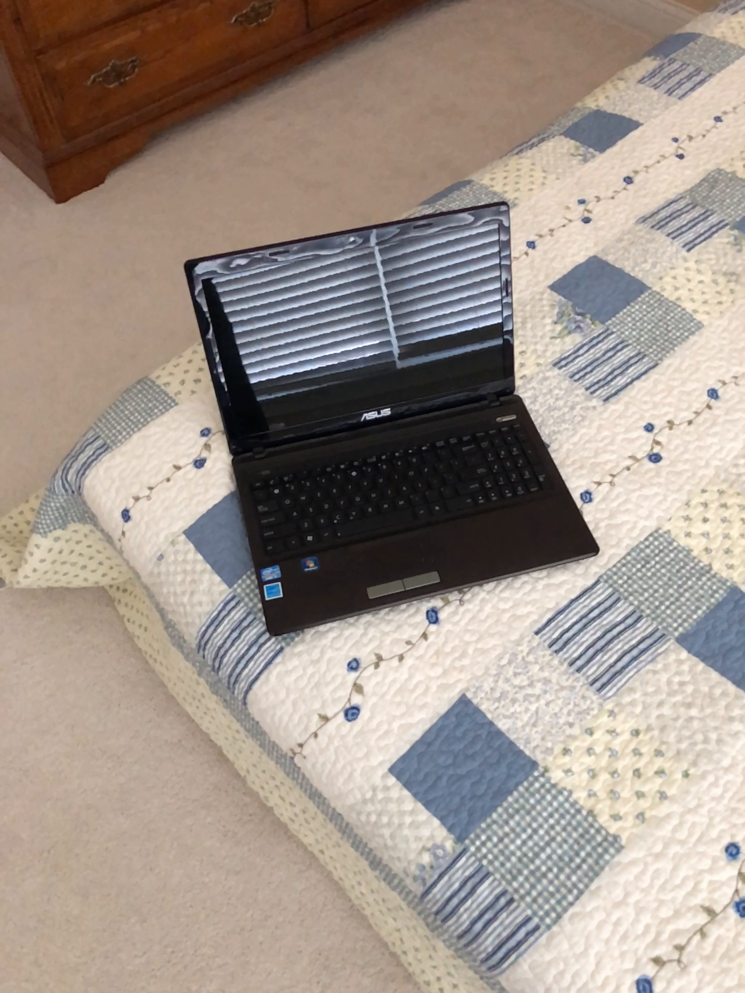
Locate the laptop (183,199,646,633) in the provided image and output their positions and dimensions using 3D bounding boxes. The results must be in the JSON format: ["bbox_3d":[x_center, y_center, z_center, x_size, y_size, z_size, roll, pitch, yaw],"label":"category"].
[{"bbox_3d":[0.022,-0.096,0.867,0.358,0.193,0.351,-13,57,-8],"label":"laptop"}]
